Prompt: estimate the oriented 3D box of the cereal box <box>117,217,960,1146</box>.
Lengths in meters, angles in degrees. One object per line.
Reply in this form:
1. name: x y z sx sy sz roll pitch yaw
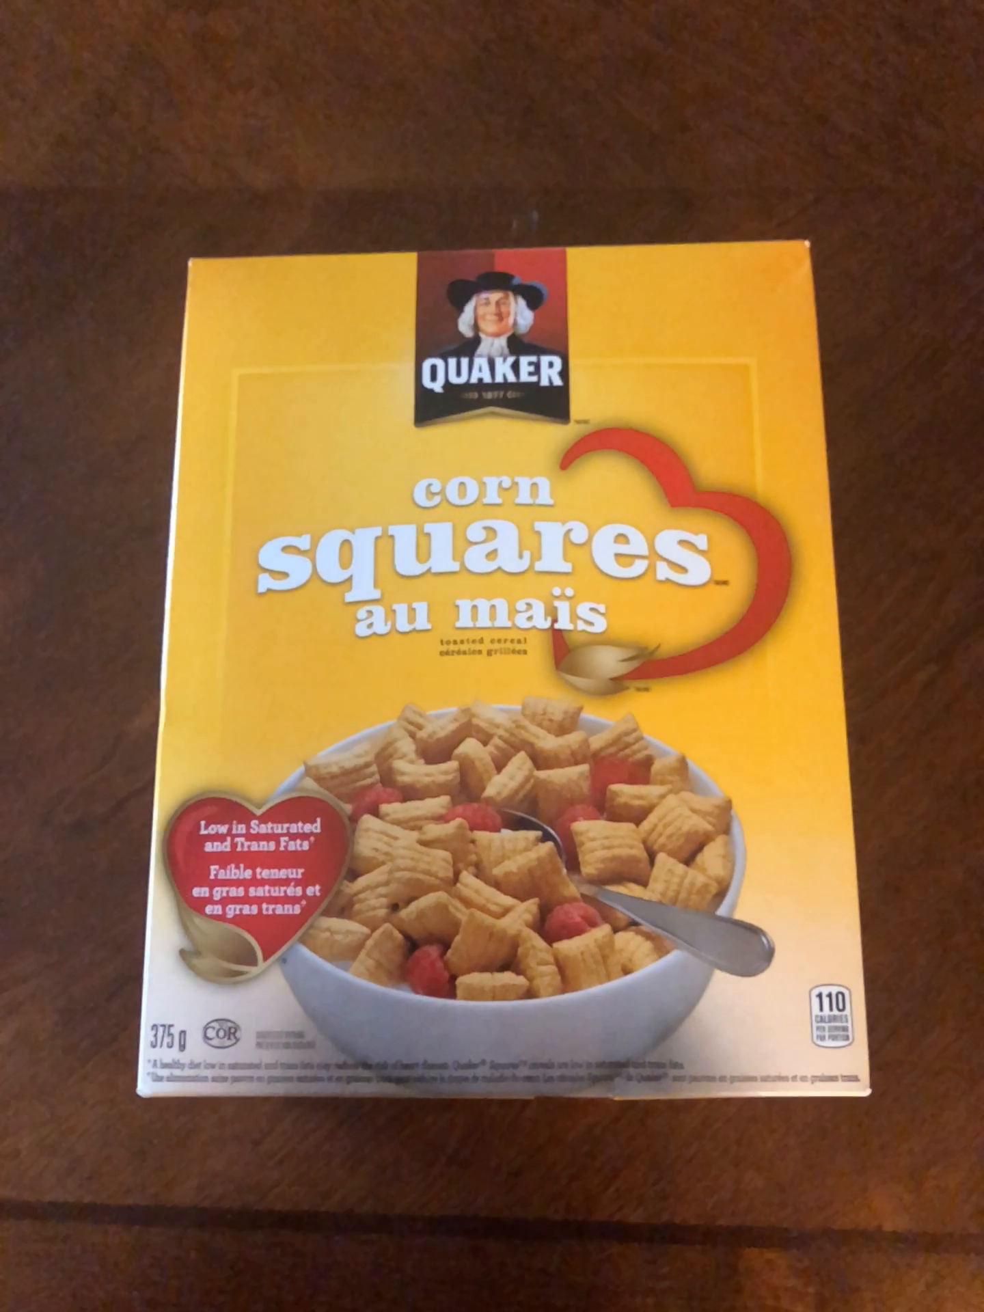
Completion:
1. cereal box: 0.011 0.001 0.339 0.220 0.050 0.270 0 78 0
